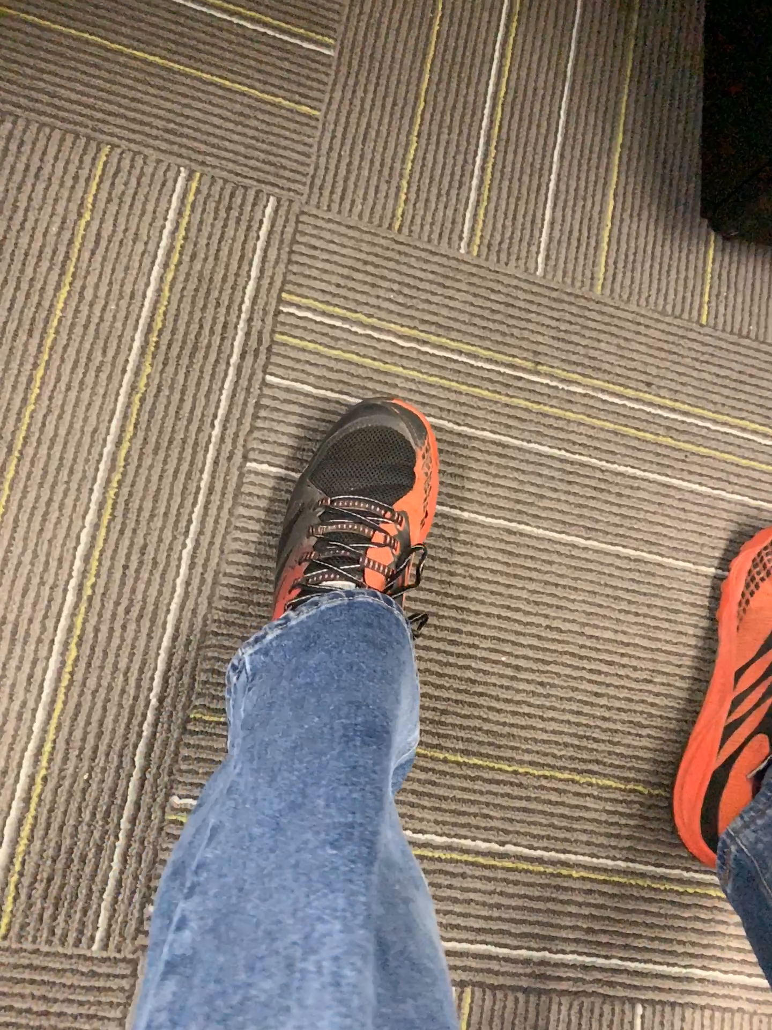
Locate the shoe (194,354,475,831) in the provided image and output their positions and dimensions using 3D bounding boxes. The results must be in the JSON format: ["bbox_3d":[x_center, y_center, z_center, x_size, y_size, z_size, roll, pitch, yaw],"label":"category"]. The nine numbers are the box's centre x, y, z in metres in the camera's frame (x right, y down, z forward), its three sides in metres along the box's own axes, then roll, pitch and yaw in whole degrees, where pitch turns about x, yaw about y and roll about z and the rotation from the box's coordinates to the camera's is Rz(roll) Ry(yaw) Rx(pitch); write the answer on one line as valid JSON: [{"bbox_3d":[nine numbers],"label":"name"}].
[{"bbox_3d":[-0.026,0.050,0.578,0.132,0.090,0.305,9,77,8],"label":"shoe"}]

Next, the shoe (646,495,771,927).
[{"bbox_3d":[0.336,0.153,0.656,0.140,0.090,0.302,25,76,-21],"label":"shoe"}]
